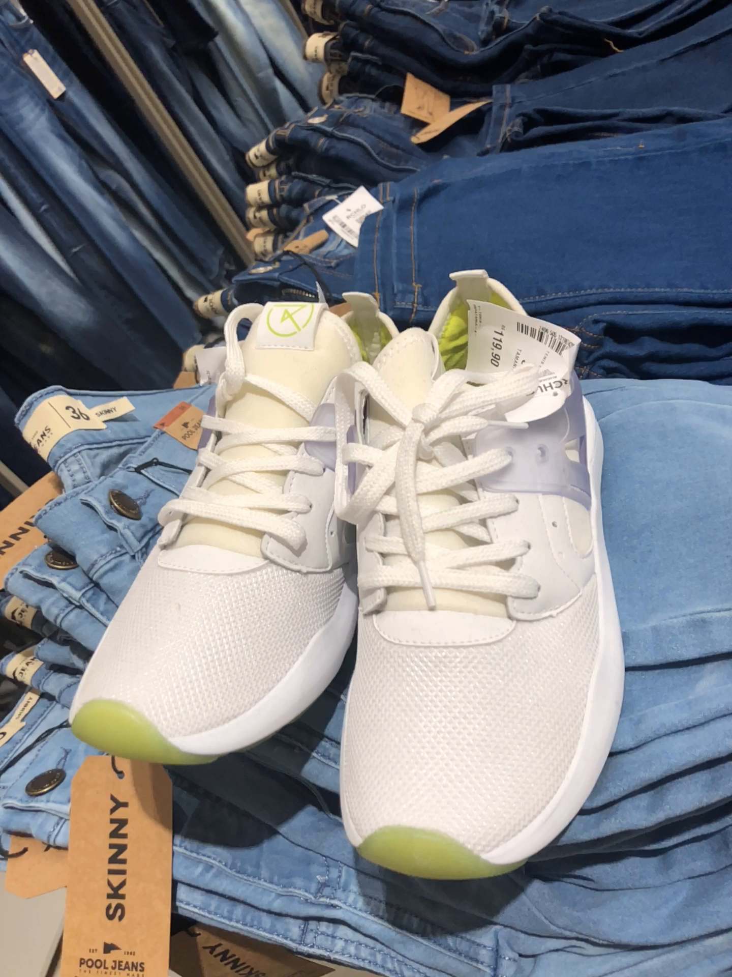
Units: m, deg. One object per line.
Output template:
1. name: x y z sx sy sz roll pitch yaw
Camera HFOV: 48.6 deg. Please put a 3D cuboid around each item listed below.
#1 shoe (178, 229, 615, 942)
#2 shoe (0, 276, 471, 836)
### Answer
1. shoe: 0.036 0.017 0.313 0.100 0.089 0.251 -8 44 25
2. shoe: -0.043 -0.004 0.363 0.110 0.119 0.260 7 29 22
